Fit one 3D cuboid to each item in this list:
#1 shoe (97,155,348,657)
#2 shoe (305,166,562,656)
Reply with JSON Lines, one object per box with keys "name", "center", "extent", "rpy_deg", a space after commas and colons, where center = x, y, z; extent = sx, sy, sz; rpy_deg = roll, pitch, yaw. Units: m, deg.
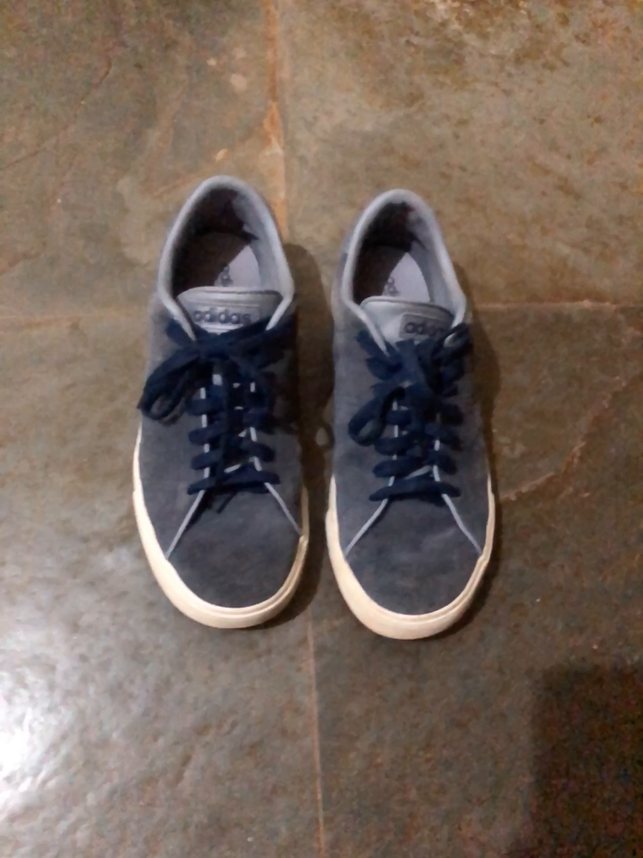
{"name": "shoe", "center": [-0.057, -0.020, 0.402], "extent": [0.110, 0.080, 0.271], "rpy_deg": [-2, 68, -7]}
{"name": "shoe", "center": [0.052, -0.016, 0.425], "extent": [0.110, 0.080, 0.281], "rpy_deg": [0, 68, -6]}
